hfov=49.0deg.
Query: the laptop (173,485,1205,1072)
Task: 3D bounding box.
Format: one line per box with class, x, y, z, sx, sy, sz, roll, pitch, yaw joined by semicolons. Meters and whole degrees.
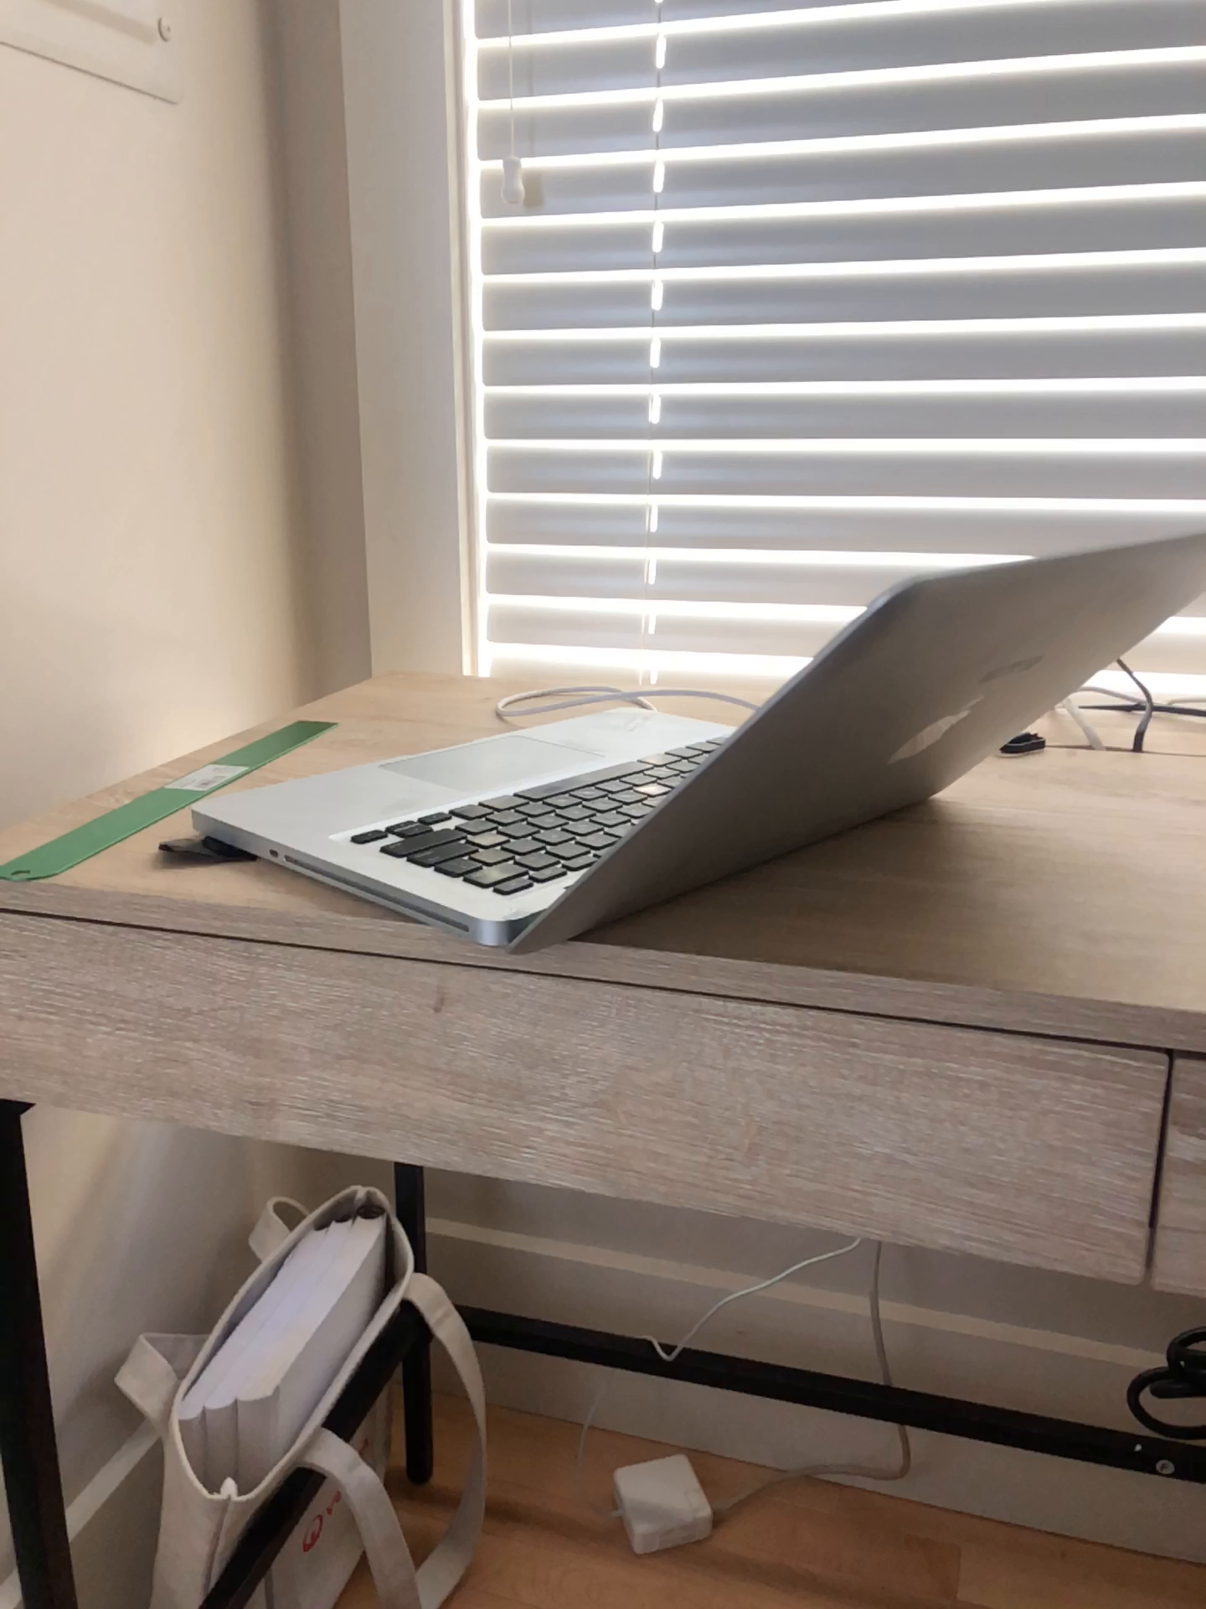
laptop;0.051;-0.057;0.594;0.346;0.133;0.321;16;23;40
